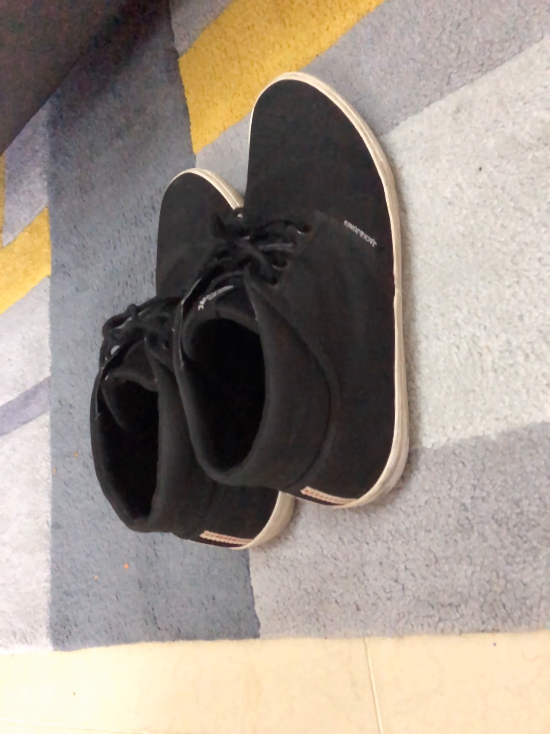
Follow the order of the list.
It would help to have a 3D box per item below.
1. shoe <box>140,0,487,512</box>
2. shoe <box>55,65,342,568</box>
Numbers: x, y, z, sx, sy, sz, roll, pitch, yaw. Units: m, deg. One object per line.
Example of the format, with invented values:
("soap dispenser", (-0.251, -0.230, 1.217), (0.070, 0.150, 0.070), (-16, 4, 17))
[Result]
("shoe", (0.012, -0.068, 0.345), (0.110, 0.129, 0.280), (-21, 66, 40))
("shoe", (-0.061, -0.028, 0.392), (0.110, 0.109, 0.281), (-28, 61, 37))
